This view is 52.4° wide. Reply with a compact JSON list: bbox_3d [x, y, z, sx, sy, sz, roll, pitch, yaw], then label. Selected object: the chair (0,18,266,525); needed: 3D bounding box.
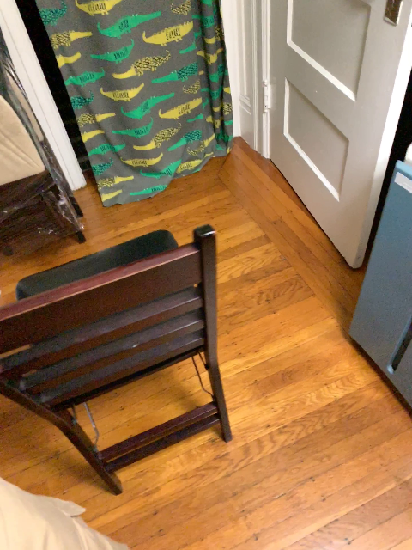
[{"bbox_3d":[-0.222,0.052,0.922,0.490,0.865,0.553,-22,50,-12],"label":"chair"}]
